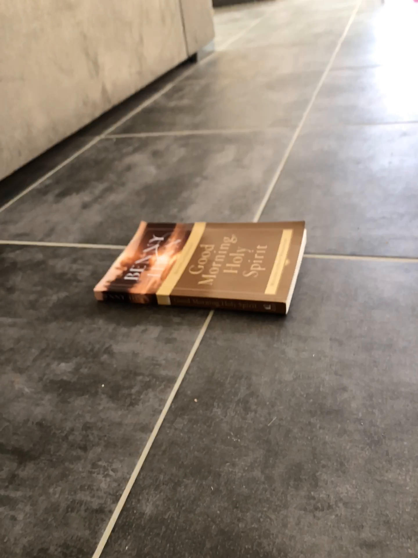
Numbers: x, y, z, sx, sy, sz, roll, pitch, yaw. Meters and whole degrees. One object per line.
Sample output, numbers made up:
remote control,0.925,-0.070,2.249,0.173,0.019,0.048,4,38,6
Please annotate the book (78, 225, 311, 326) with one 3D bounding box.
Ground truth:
book,-0.010,-0.014,0.528,0.230,0.020,0.151,3,37,19
